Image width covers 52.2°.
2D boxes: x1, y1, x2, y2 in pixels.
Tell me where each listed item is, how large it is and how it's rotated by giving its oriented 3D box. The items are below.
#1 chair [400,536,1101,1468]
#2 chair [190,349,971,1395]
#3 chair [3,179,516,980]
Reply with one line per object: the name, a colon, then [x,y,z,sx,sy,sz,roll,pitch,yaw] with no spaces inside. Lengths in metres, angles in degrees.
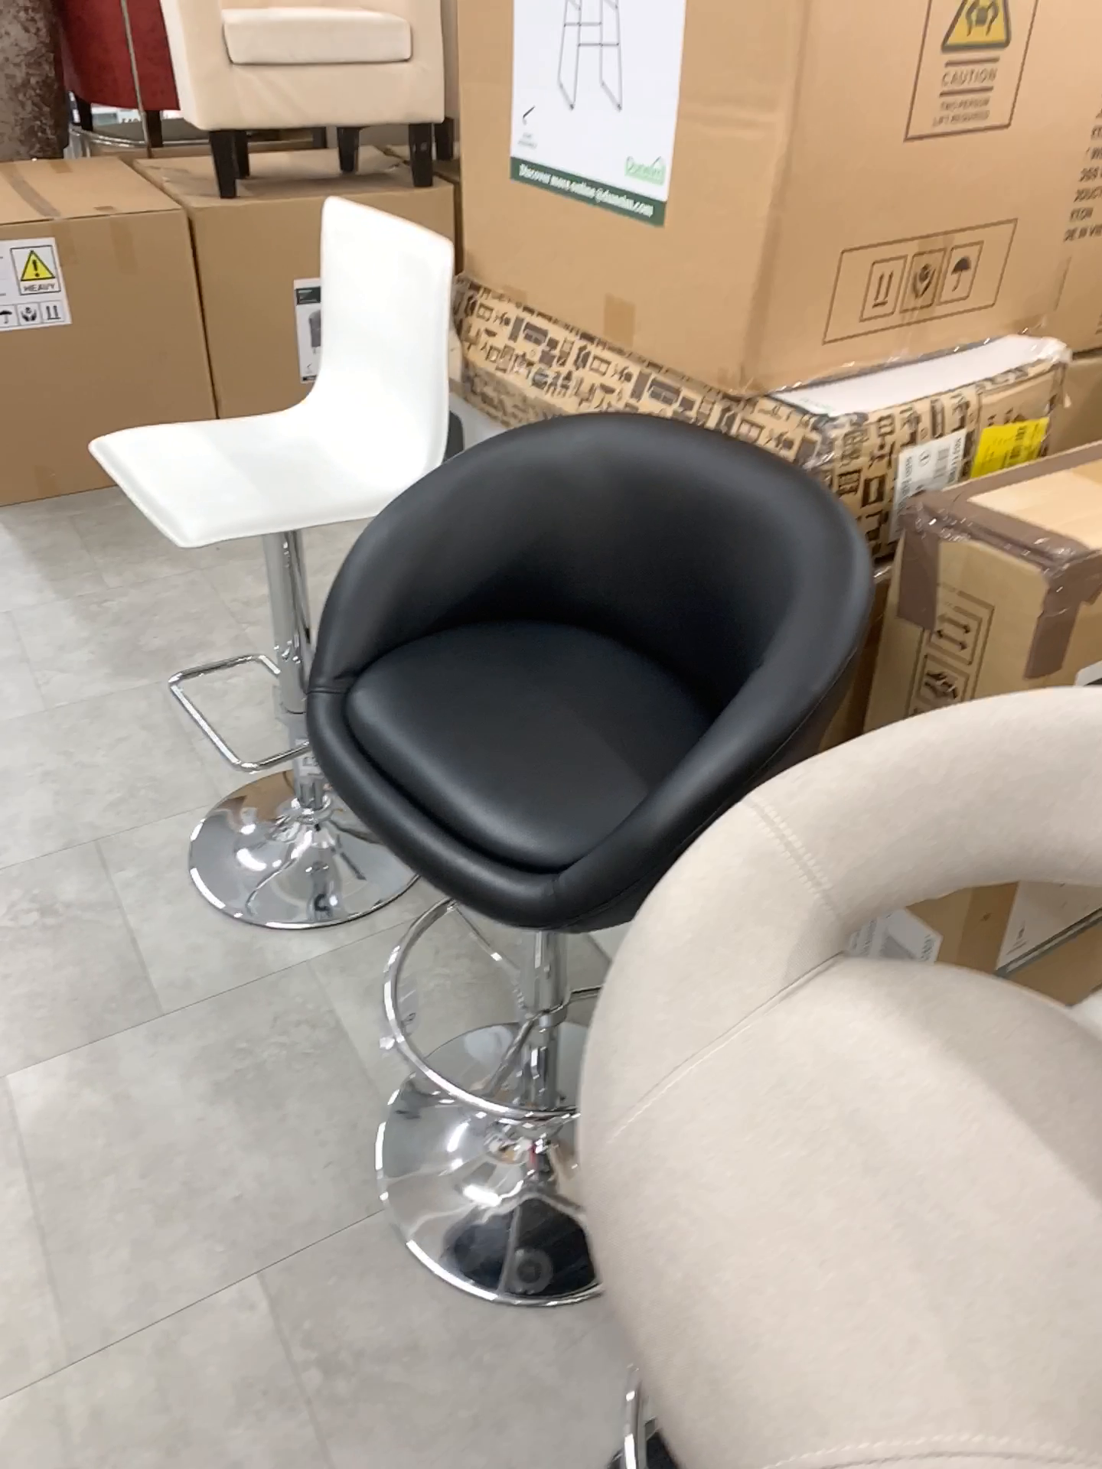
chair: [0.217,0.419,0.781,0.431,0.918,0.447,-23,43,-31]
chair: [-0.008,0.138,1.167,0.441,0.868,0.477,-21,42,-29]
chair: [-0.366,-0.213,1.601,0.441,0.948,0.447,-23,43,-31]
